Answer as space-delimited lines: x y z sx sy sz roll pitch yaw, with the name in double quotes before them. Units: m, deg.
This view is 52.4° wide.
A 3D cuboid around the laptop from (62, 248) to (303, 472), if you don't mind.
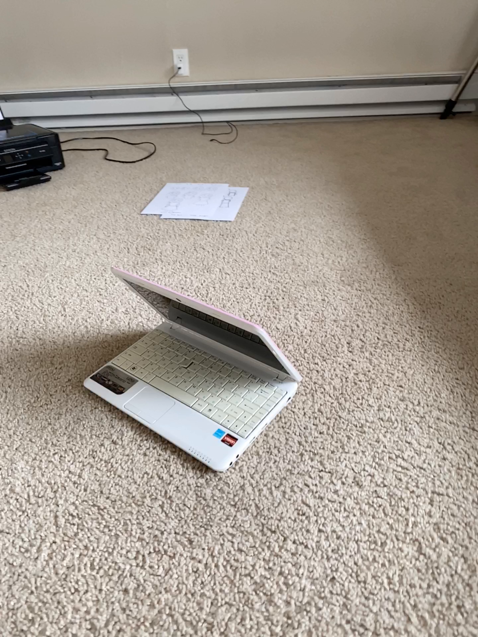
"laptop" -0.080 0.039 0.711 0.287 0.147 0.188 22 43 32
